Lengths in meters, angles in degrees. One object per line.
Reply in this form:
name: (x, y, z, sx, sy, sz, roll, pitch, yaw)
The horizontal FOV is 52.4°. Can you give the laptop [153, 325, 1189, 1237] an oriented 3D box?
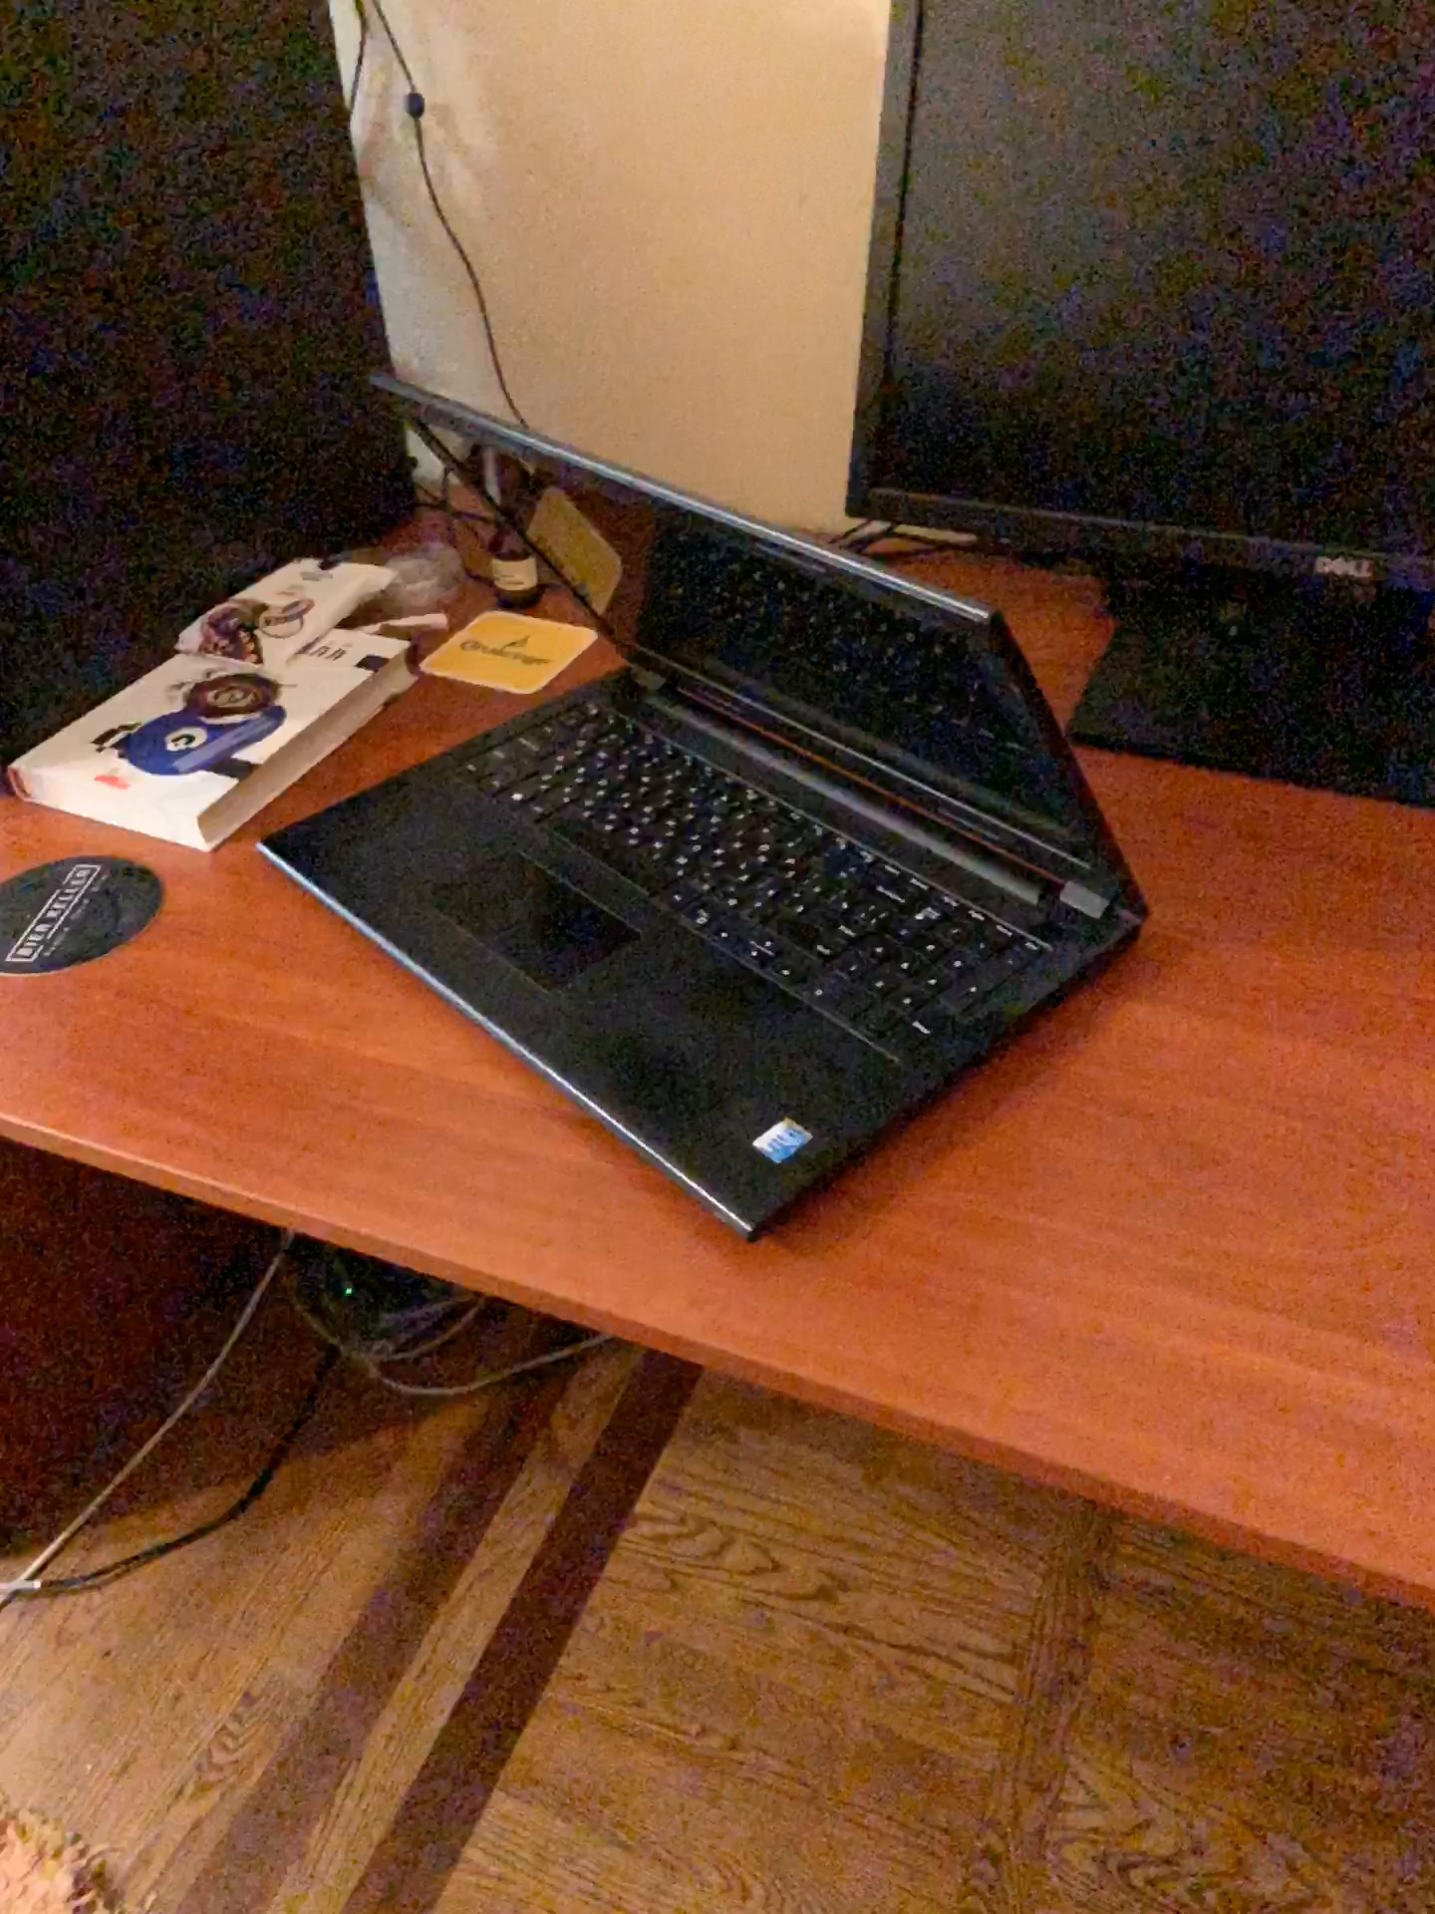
laptop: (-0.032, -0.113, 0.671, 0.246, 0.202, 0.375, -34, 49, -30)
